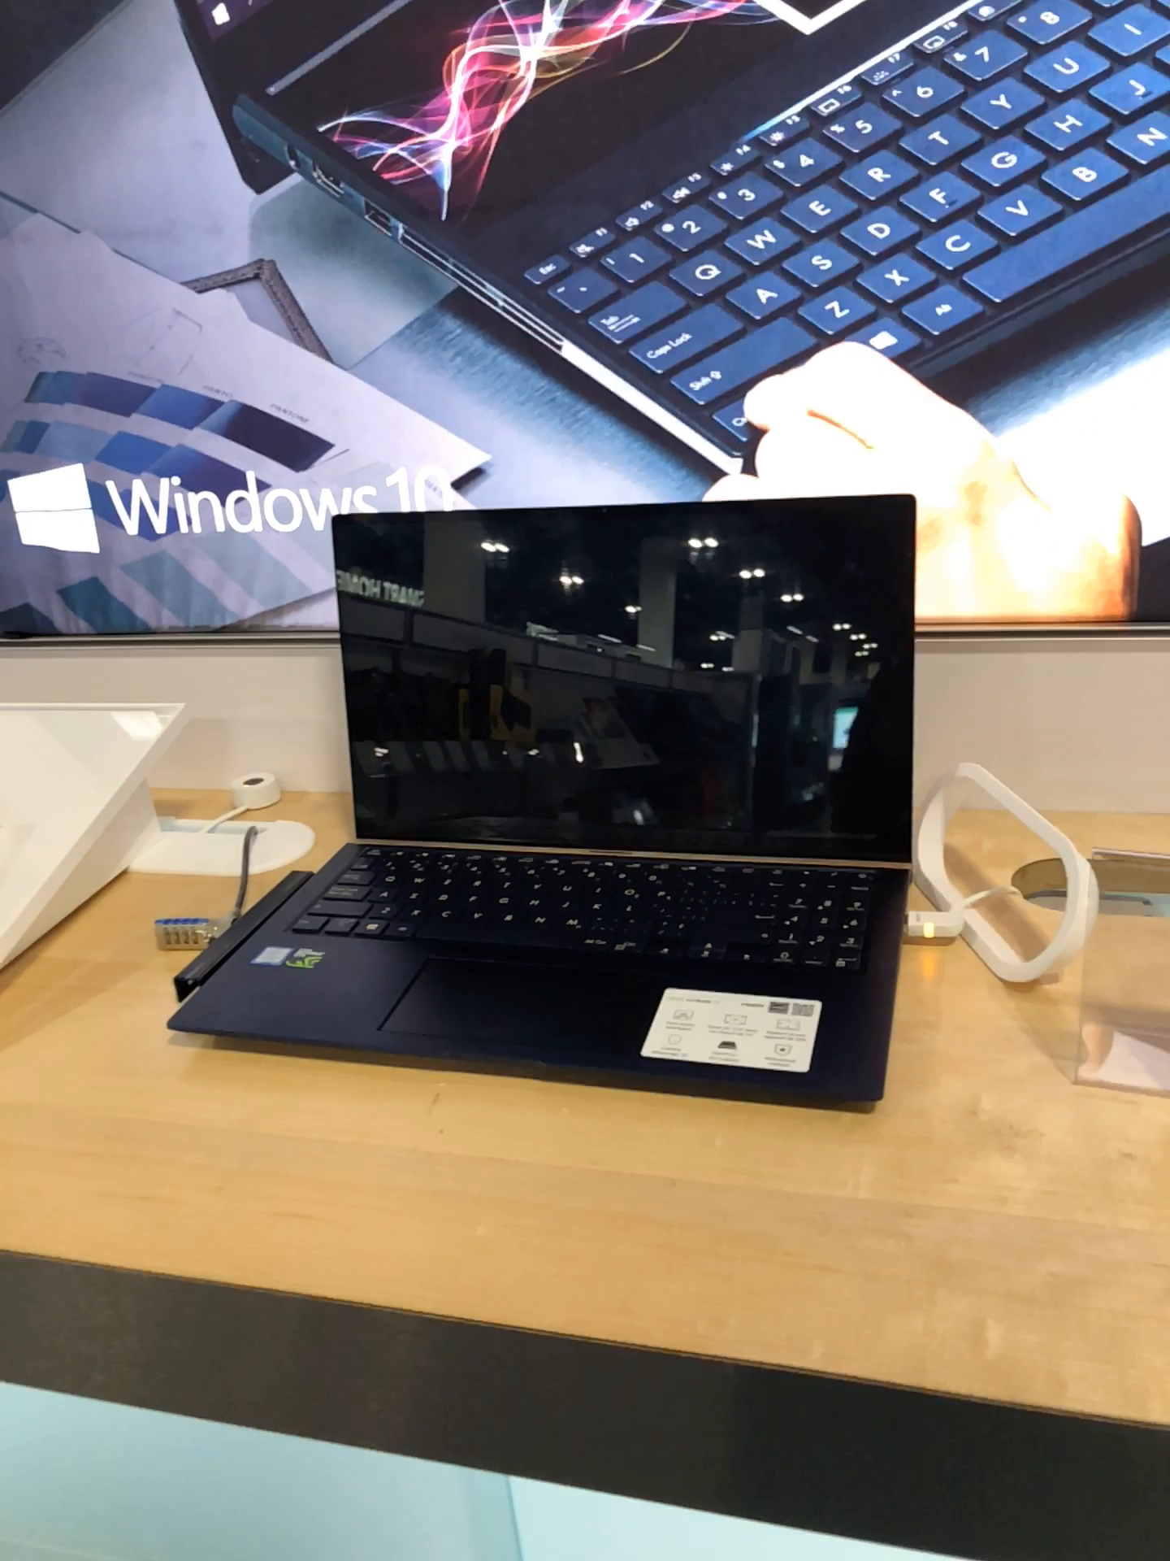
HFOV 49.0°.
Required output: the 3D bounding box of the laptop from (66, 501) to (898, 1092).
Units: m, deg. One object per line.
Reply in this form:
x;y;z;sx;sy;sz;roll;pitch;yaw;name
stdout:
-0.023;-0.014;0.659;0.336;0.196;0.250;2;23;18;laptop
